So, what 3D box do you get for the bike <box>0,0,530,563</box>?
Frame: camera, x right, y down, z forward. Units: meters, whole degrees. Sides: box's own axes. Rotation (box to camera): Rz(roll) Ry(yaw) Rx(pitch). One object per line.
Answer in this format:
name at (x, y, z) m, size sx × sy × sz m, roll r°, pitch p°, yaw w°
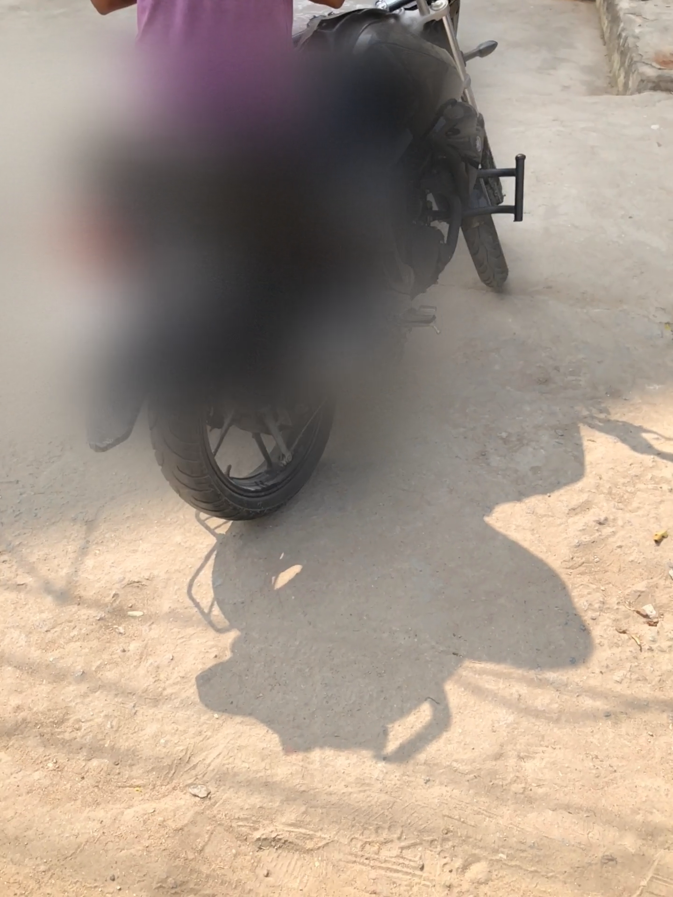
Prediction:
bike at (-0.100, -0.775, 1.910) m, size 0.683 × 0.959 × 1.698 m, roll 16°, pitch 47°, yaw 17°
